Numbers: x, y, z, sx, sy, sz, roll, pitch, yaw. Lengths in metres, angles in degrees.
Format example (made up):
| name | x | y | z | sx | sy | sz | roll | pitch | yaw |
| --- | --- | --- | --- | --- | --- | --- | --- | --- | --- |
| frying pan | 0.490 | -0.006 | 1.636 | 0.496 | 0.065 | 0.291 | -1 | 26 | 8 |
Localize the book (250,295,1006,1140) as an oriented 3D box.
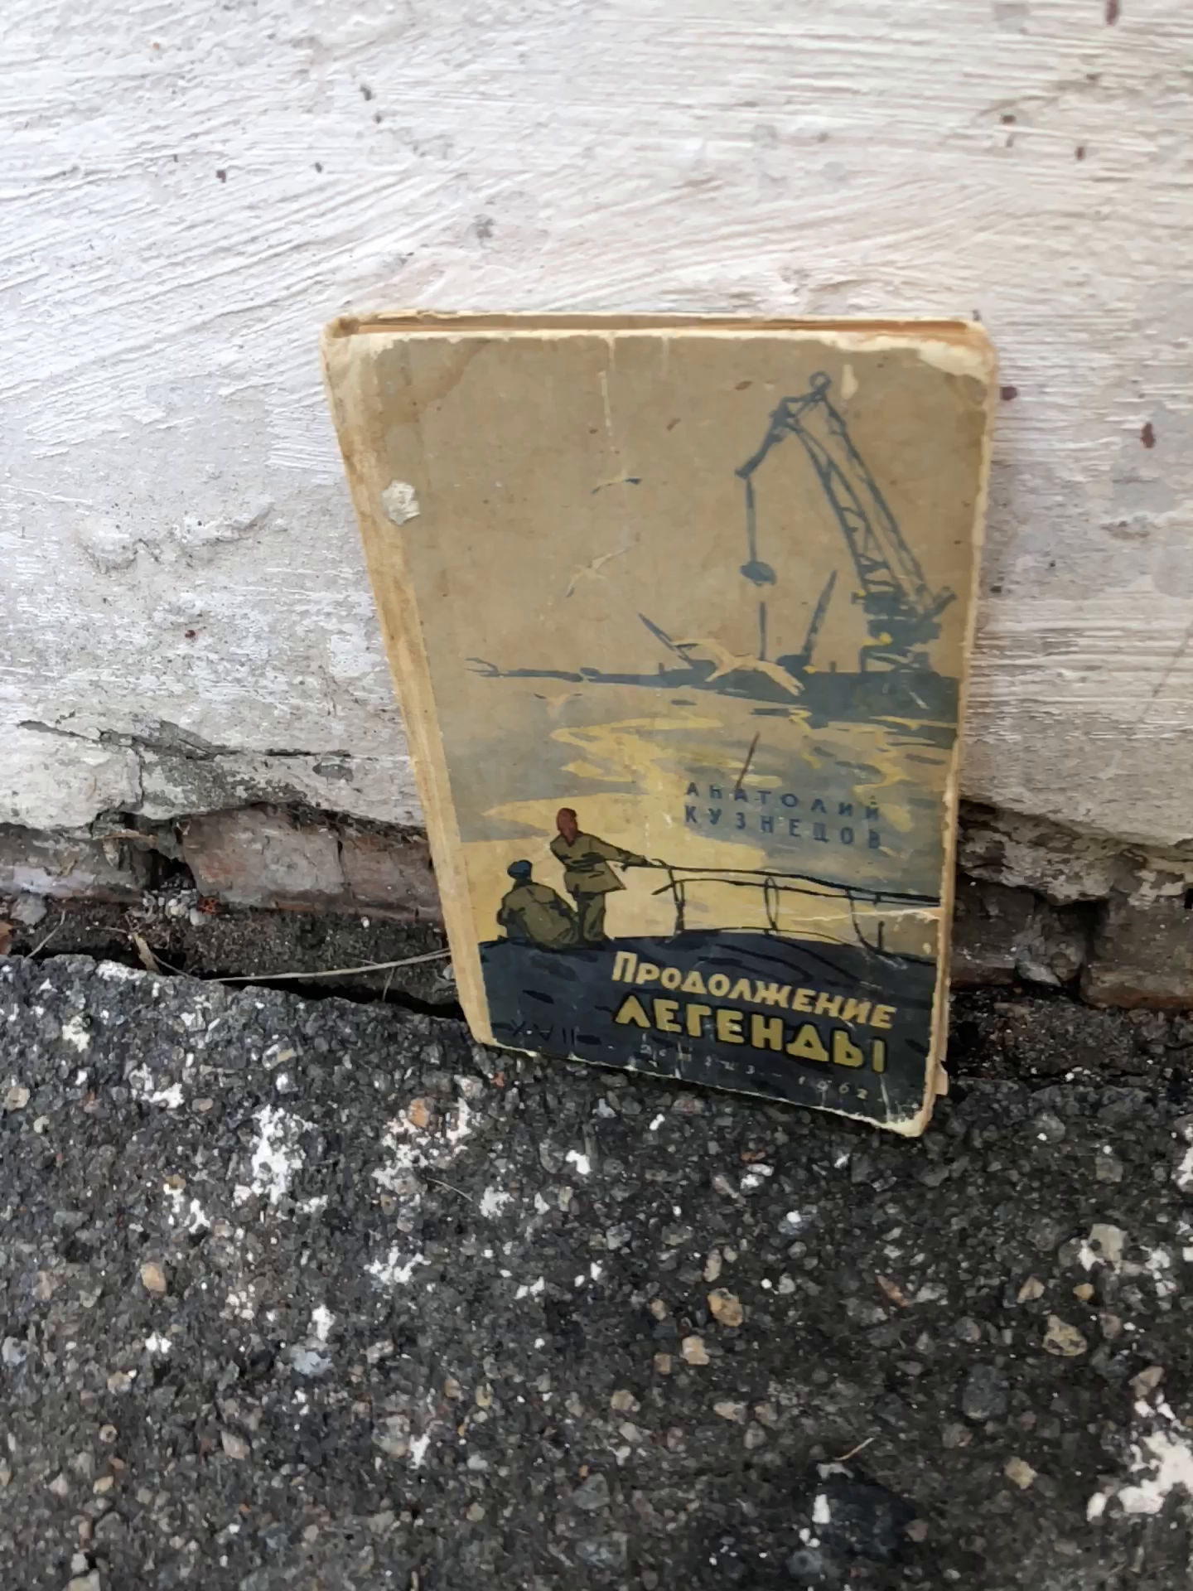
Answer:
| name | x | y | z | sx | sy | sz | roll | pitch | yaw |
| --- | --- | --- | --- | --- | --- | --- | --- | --- | --- |
| book | 0.009 | -0.011 | 0.292 | 0.136 | 0.181 | 0.030 | 7 | 34 | 15 |
